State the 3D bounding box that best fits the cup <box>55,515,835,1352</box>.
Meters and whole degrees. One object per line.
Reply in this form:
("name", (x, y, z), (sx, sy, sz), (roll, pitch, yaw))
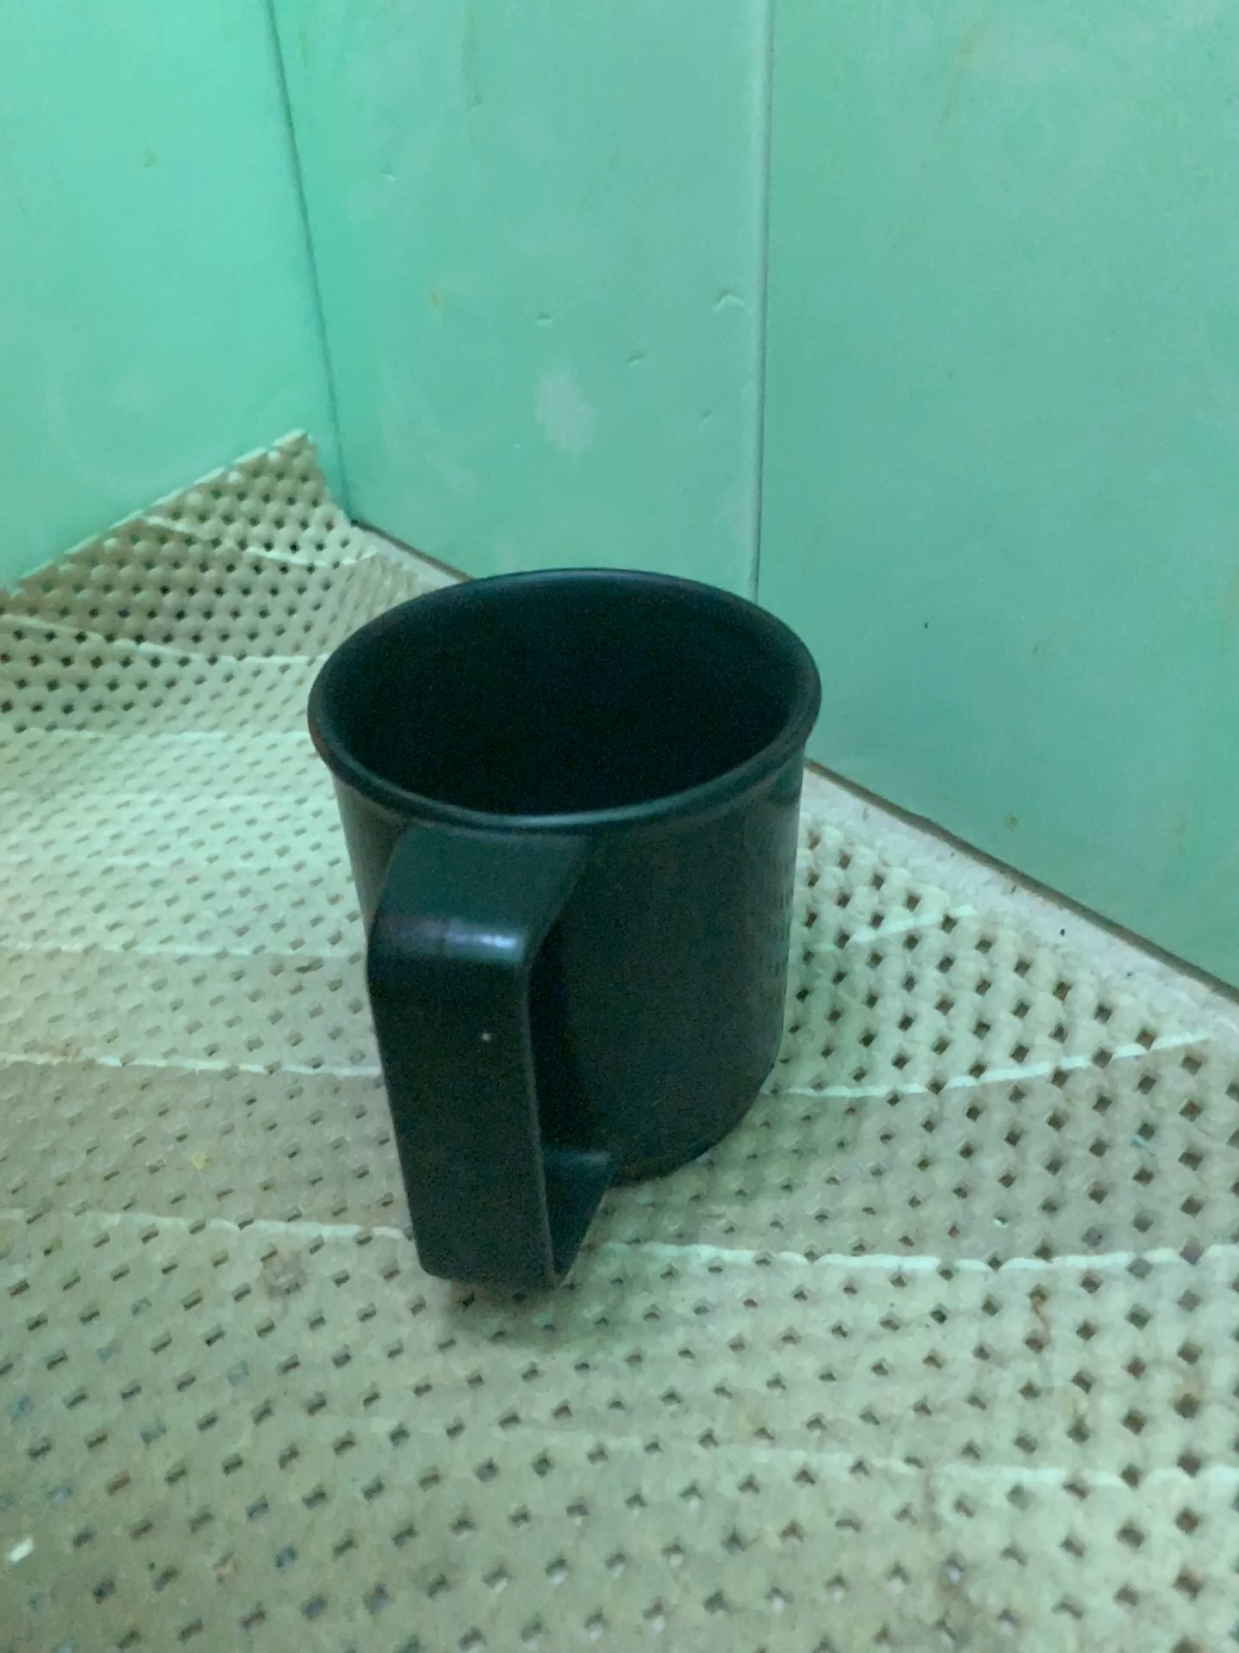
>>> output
("cup", (-0.014, 0.009, 0.221), (0.090, 0.082, 0.112), (5, 36, 11))
